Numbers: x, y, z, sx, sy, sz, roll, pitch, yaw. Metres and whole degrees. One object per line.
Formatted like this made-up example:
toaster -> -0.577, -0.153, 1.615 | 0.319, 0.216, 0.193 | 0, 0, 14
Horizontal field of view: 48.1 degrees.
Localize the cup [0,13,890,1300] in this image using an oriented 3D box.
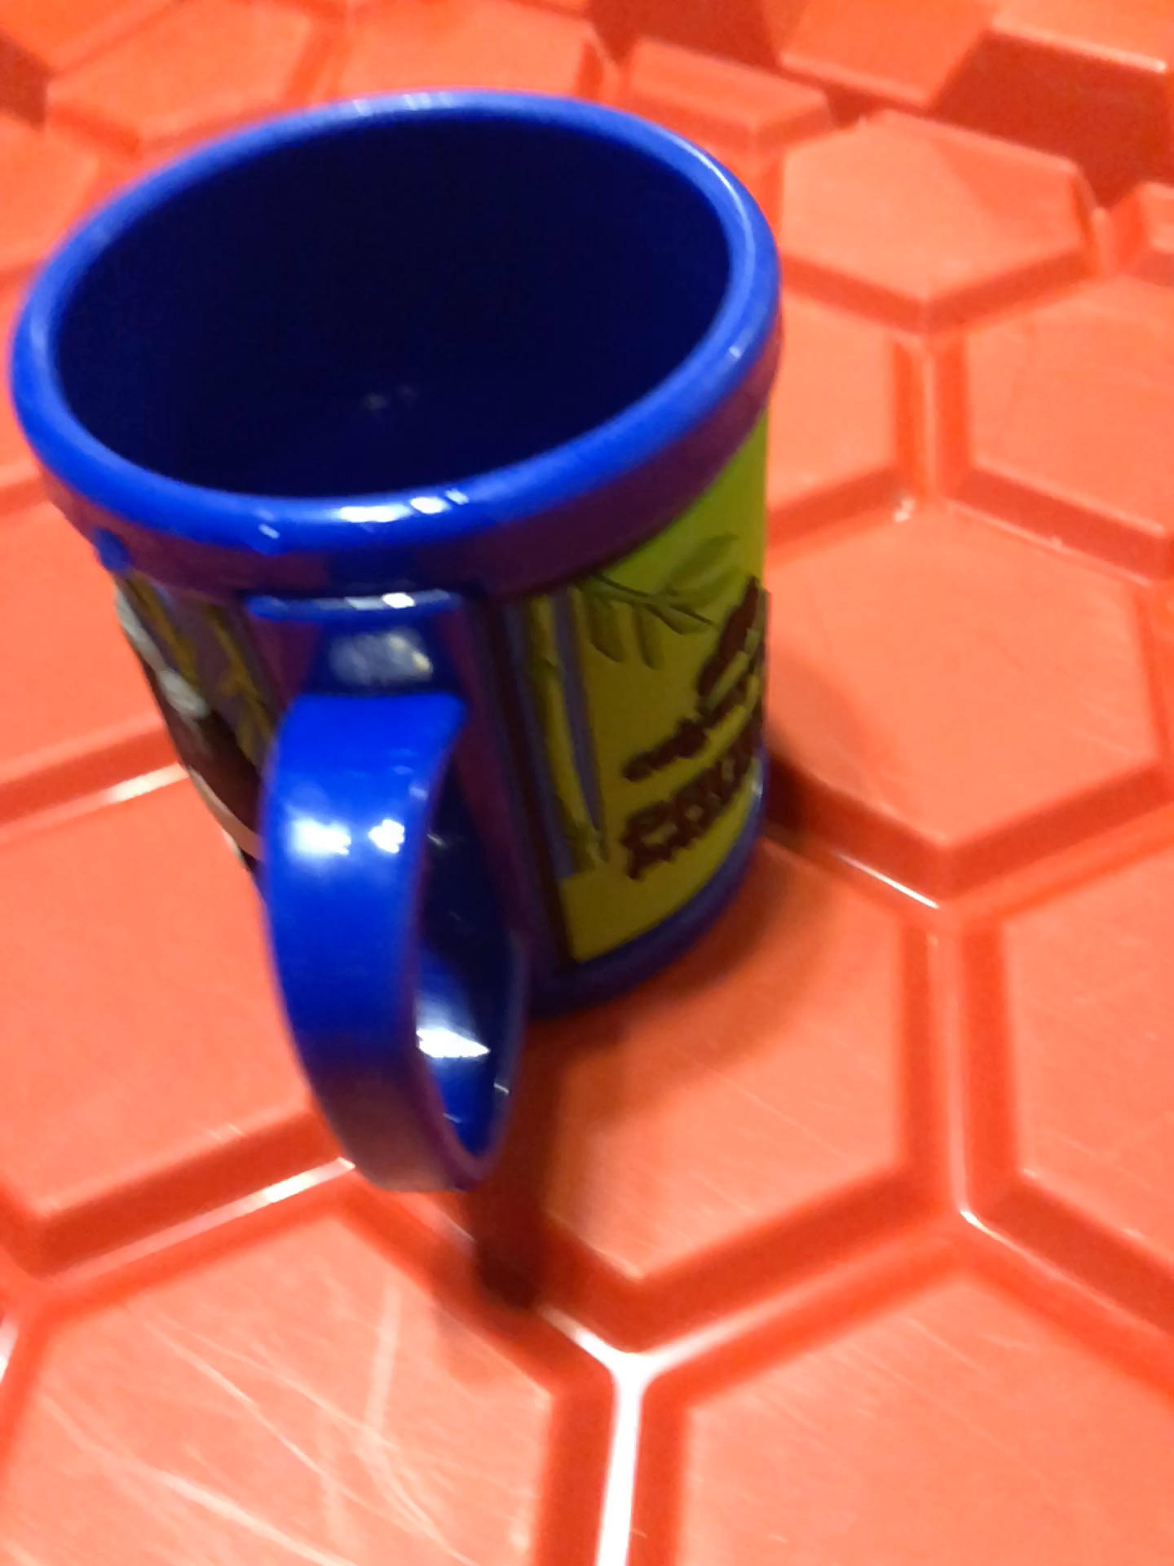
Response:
cup -> -0.019, -0.012, 0.165 | 0.090, 0.099, 0.121 | -2, 53, 5
